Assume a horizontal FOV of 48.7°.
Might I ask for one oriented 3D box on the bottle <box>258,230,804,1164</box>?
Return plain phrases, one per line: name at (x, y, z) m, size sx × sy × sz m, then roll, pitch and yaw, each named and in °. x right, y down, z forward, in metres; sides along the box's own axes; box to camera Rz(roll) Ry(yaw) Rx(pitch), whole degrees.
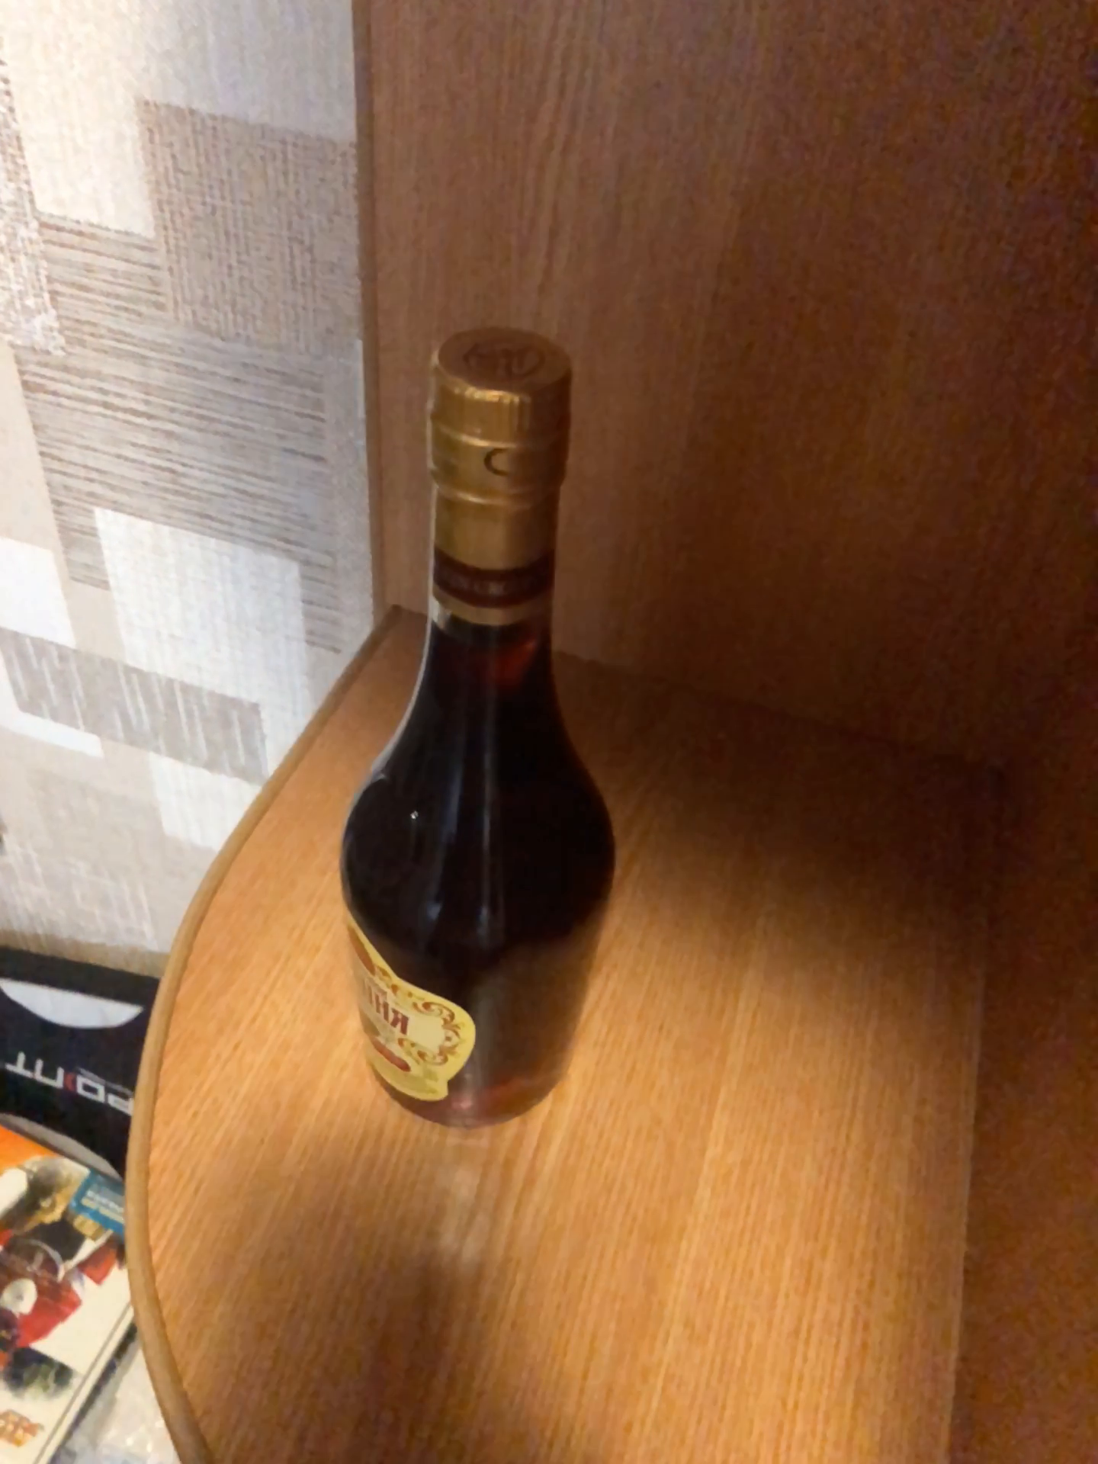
bottle at (-0.016, 0.006, 0.337) m, size 0.080 × 0.244 × 0.090 m, roll -19°, pitch 49°, yaw -25°
